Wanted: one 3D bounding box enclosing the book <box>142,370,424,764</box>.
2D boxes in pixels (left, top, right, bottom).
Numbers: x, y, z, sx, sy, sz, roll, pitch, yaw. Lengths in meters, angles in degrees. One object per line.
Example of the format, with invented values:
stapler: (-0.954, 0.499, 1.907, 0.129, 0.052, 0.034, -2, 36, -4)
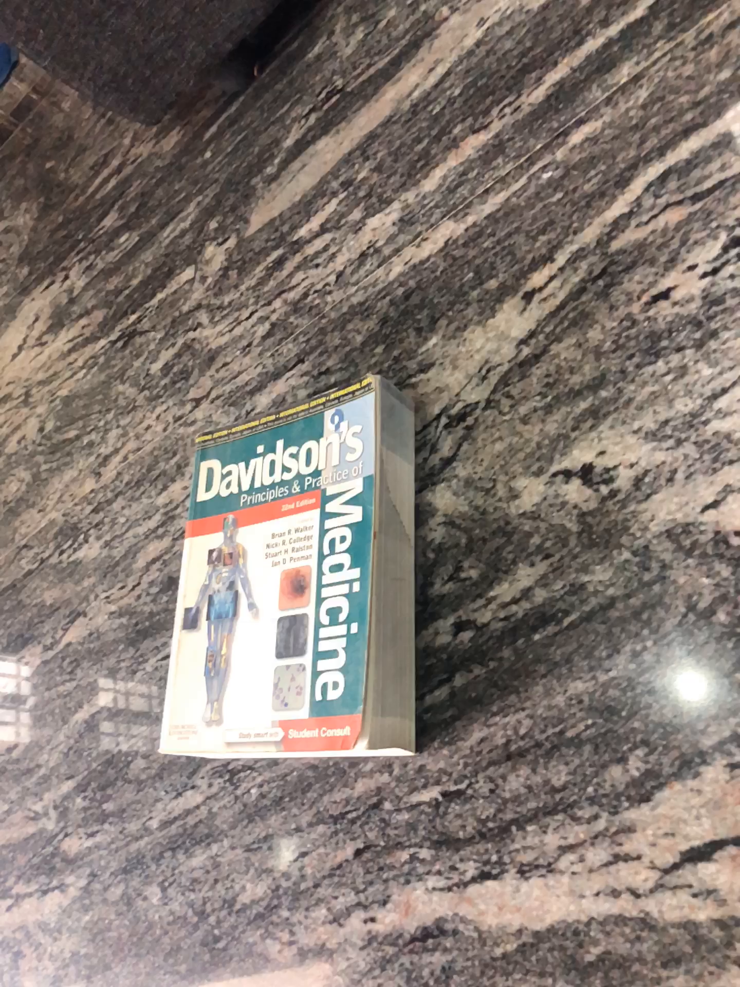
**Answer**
book: (-0.063, 0.064, 0.614, 0.201, 0.070, 0.260, -14, 64, 34)
